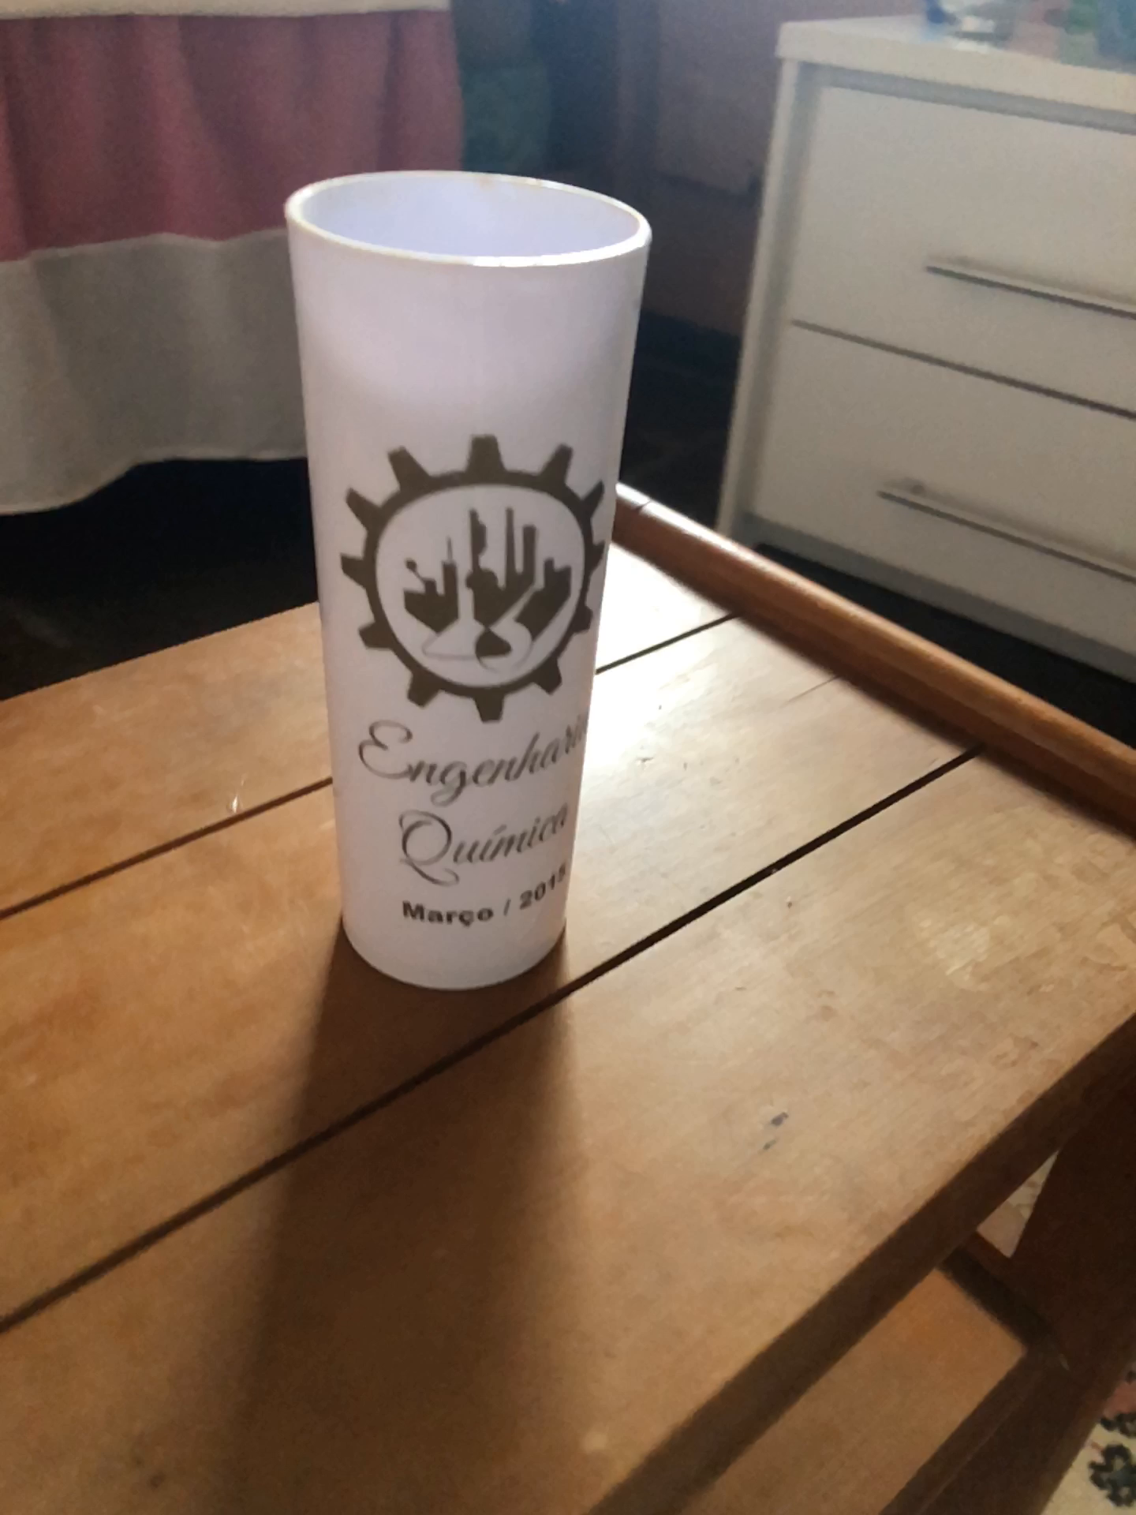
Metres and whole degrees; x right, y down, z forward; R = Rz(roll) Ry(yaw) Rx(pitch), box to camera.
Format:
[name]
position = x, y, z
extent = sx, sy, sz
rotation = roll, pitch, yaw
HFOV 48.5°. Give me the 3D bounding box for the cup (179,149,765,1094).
[cup]
position = -0.023, -0.024, 0.247
extent = 0.070, 0.159, 0.070
rotation = 3, 35, -2
